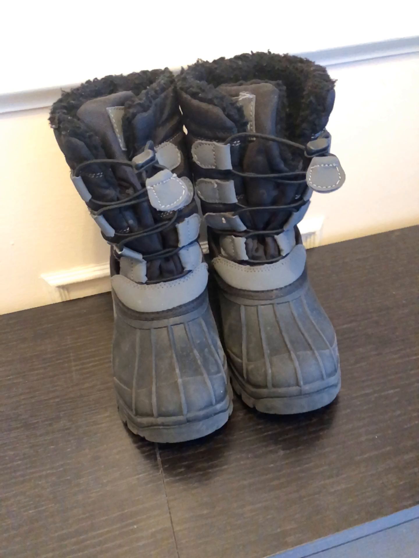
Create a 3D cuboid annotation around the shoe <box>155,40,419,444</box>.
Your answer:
[{"bbox_3d":[0.037,-0.044,0.348,0.100,0.208,0.222,-11,36,-8],"label":"shoe"}]

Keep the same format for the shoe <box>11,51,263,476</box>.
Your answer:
[{"bbox_3d":[-0.045,-0.028,0.335,0.100,0.208,0.222,-11,36,-8],"label":"shoe"}]
